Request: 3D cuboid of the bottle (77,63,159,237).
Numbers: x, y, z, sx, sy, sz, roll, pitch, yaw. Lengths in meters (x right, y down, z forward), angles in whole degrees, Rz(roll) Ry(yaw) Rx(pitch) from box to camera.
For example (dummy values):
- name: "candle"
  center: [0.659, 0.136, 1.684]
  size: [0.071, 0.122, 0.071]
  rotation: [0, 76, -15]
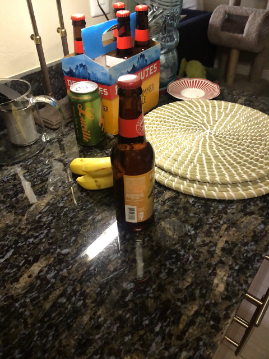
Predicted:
- name: "bottle"
  center: [-0.014, -0.025, 0.353]
  size: [0.060, 0.199, 0.060]
  rotation: [-1, 40, 0]
